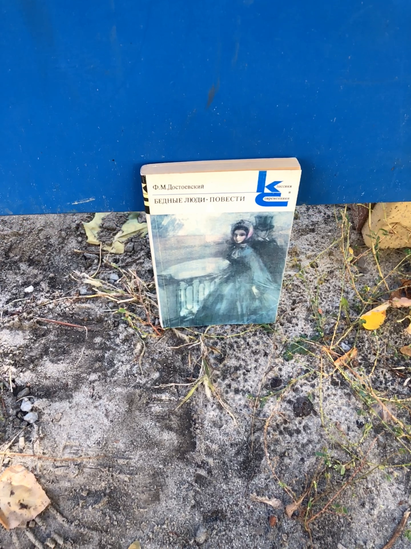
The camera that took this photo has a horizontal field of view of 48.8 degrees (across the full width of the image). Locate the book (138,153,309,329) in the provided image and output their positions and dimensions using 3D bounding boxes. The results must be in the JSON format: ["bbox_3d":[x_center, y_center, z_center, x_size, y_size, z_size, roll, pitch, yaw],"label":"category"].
[{"bbox_3d":[0.014,-0.020,0.414,0.127,0.187,0.026,-3,47,-2],"label":"book"}]
